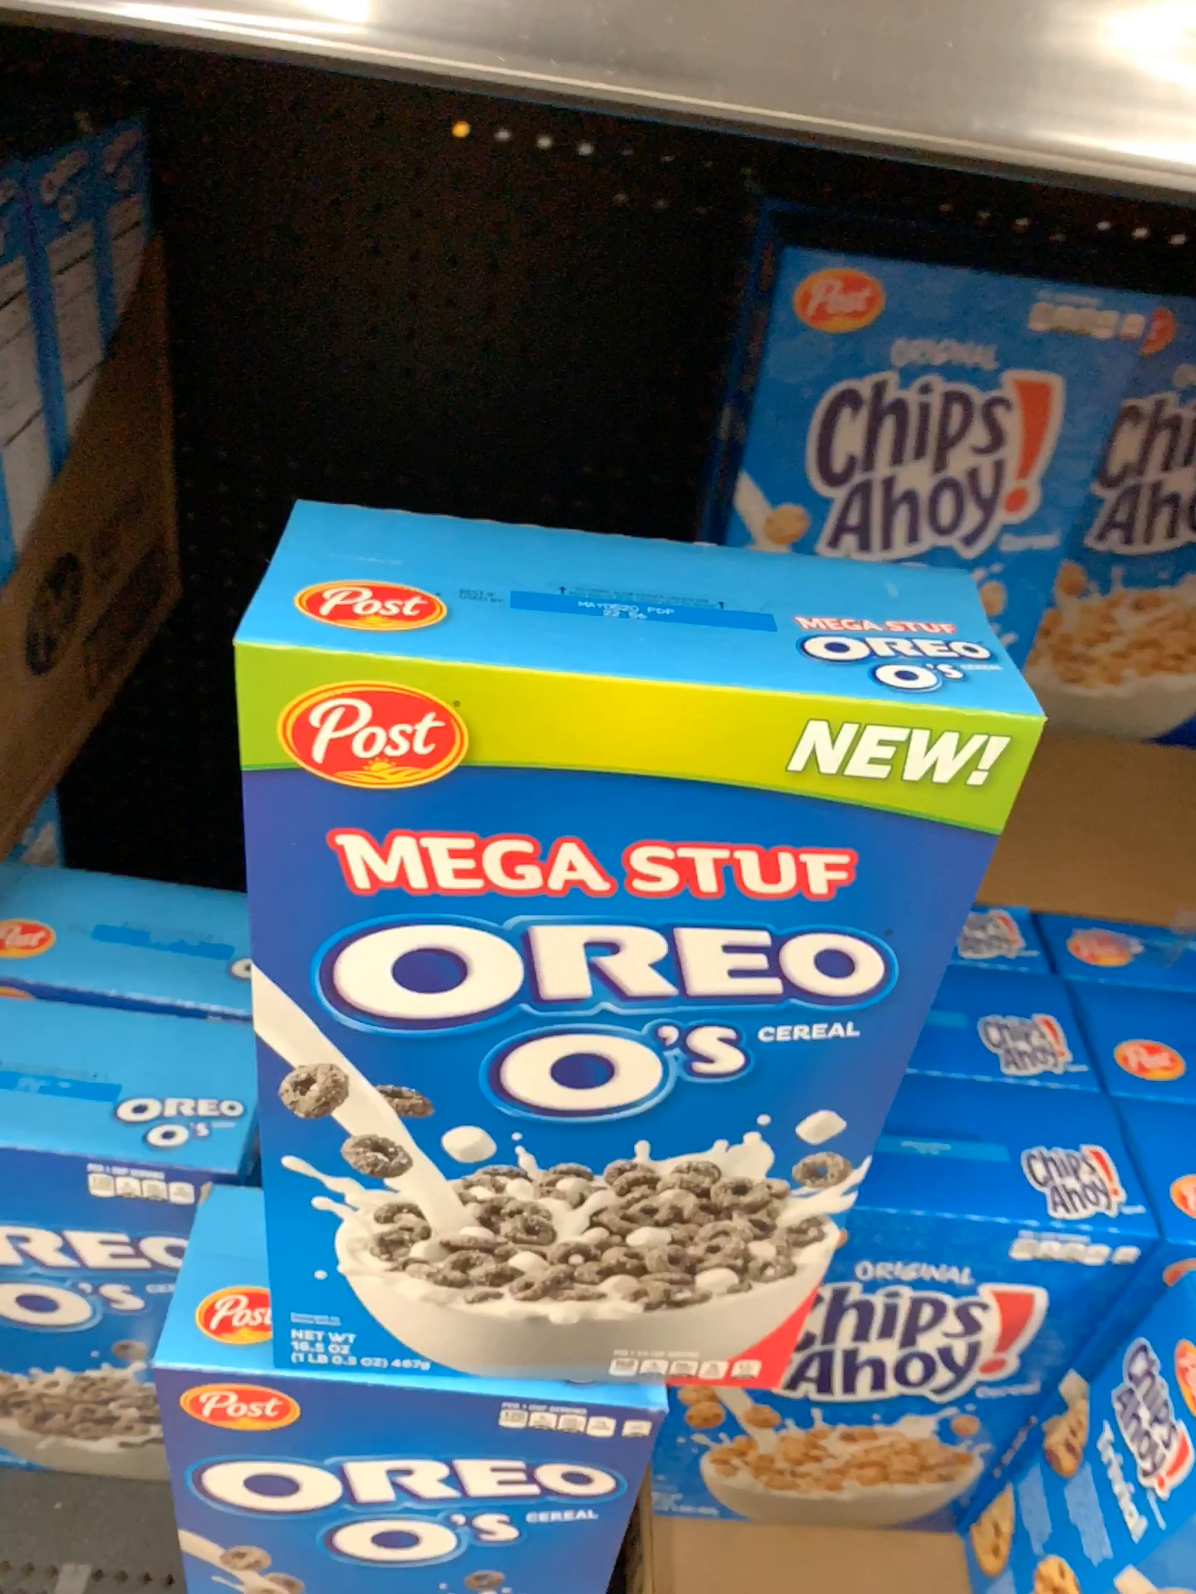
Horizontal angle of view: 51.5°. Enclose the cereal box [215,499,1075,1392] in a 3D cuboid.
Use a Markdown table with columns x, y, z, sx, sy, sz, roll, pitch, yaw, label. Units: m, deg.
| x | y | z | sx | sy | sz | roll | pitch | yaw | label |
| --- | --- | --- | --- | --- | --- | --- | --- | --- | --- |
| -0.006 | 0.071 | 0.402 | 0.200 | 0.298 | 0.080 | 4 | 35 | -7 | cereal box |
